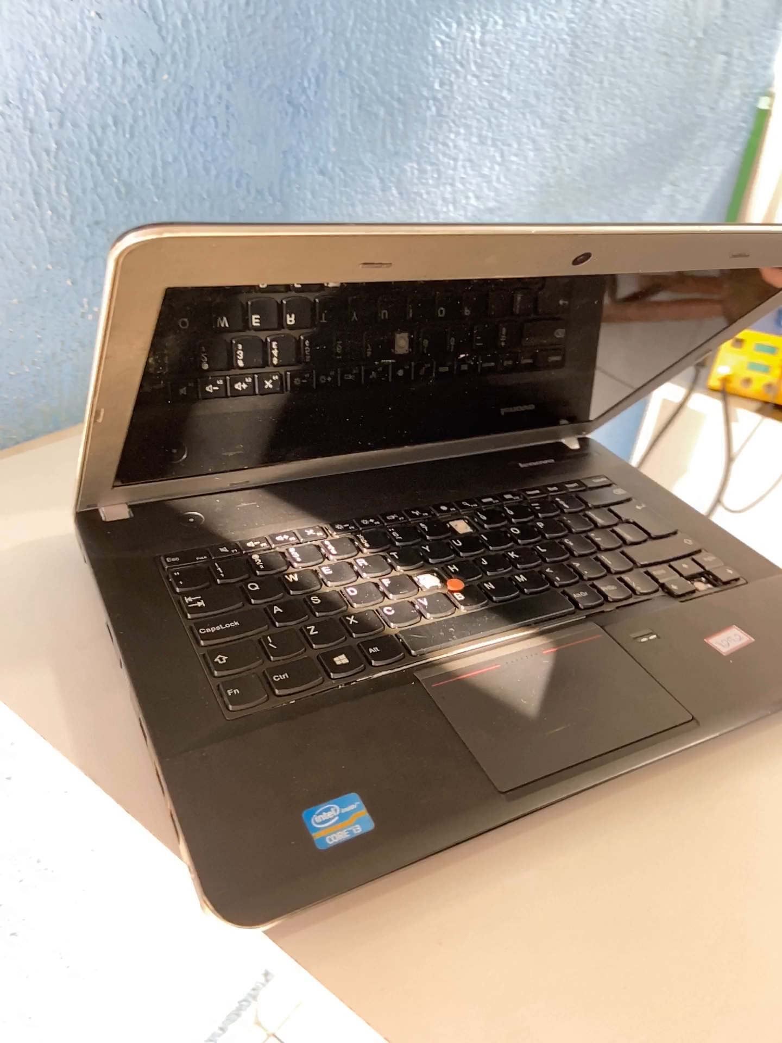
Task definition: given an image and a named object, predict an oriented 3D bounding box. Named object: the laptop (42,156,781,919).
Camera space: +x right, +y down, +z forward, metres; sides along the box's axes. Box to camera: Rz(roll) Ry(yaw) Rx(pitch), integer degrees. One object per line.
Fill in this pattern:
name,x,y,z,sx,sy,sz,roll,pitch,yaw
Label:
laptop,0.050,-0.042,0.353,0.331,0.165,0.231,-10,36,-27
